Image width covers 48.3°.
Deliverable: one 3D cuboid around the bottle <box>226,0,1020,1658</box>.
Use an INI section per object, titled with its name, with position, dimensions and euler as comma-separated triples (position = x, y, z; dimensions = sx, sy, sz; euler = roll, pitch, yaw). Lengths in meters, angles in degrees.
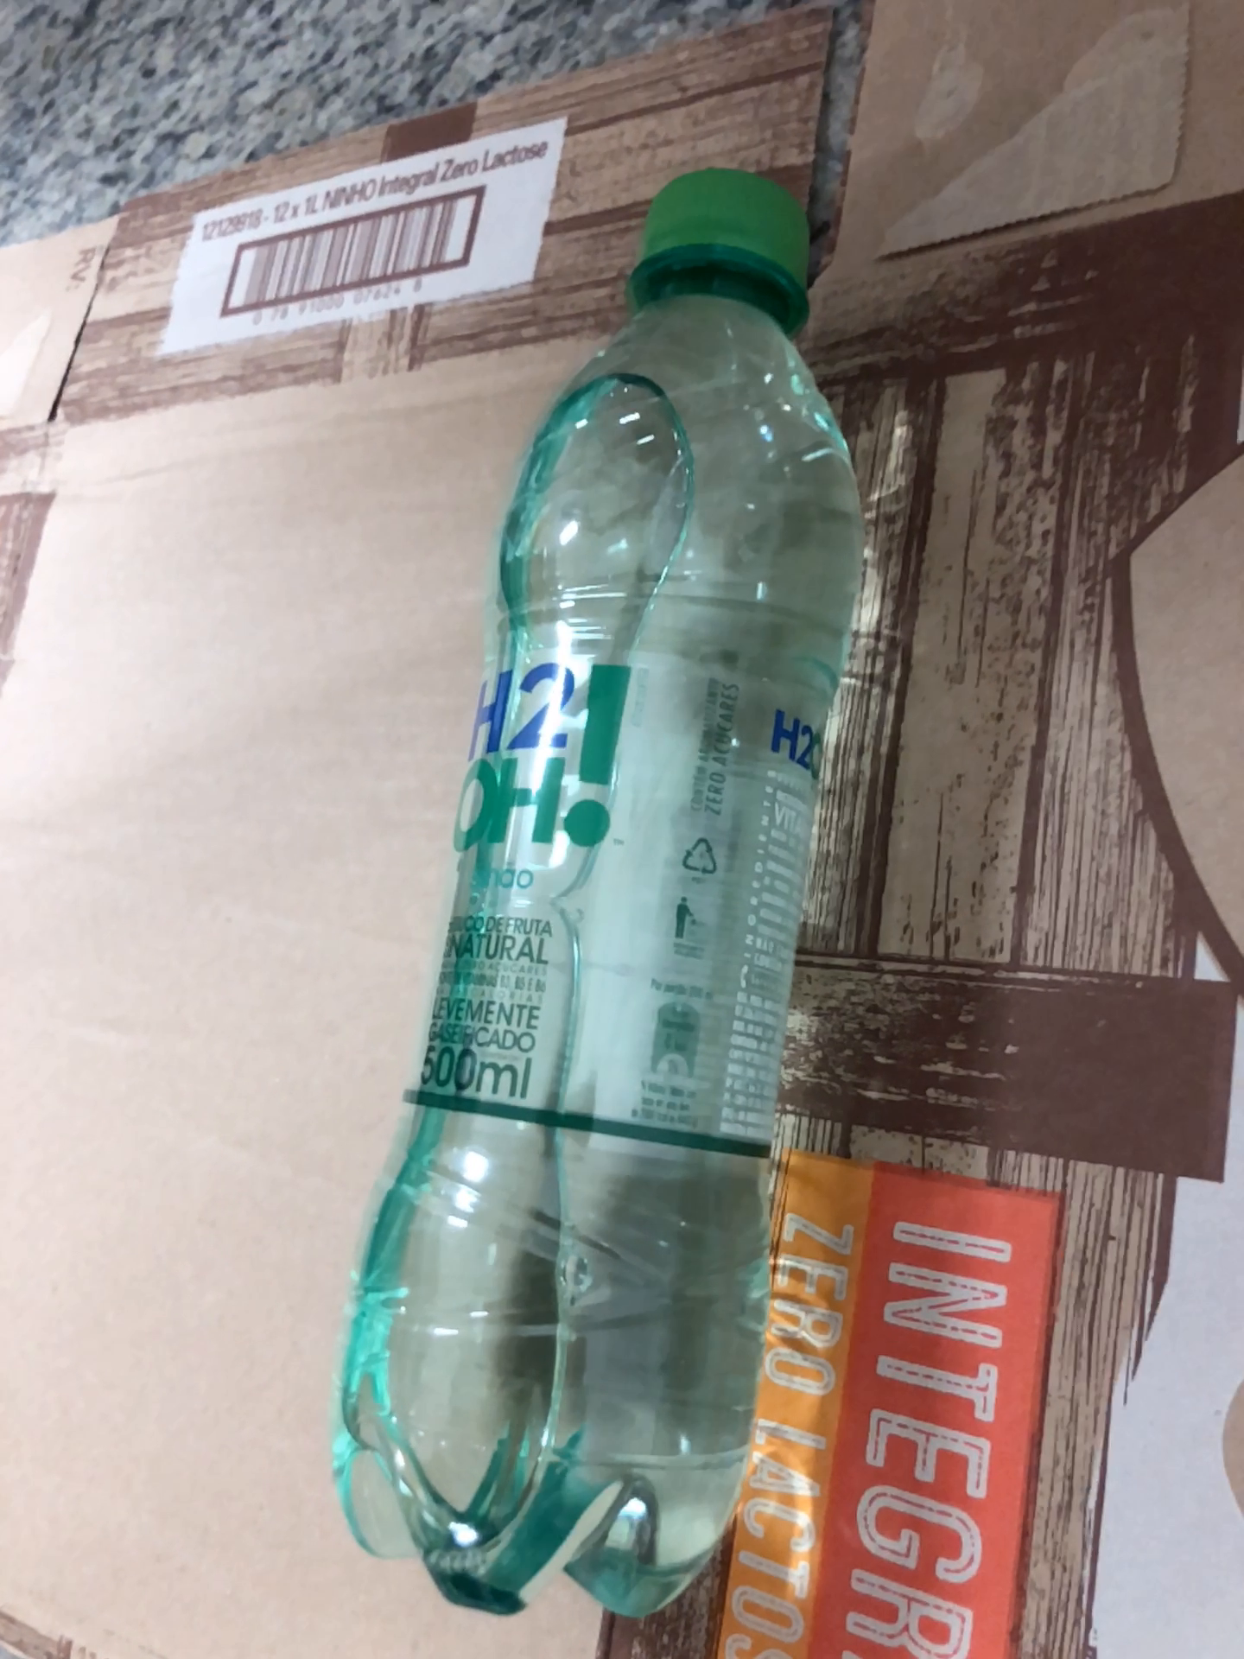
[bottle]
position = 0.009, -0.006, 0.221
dimensions = 0.070, 0.050, 0.250
euler = 2, 75, 31
